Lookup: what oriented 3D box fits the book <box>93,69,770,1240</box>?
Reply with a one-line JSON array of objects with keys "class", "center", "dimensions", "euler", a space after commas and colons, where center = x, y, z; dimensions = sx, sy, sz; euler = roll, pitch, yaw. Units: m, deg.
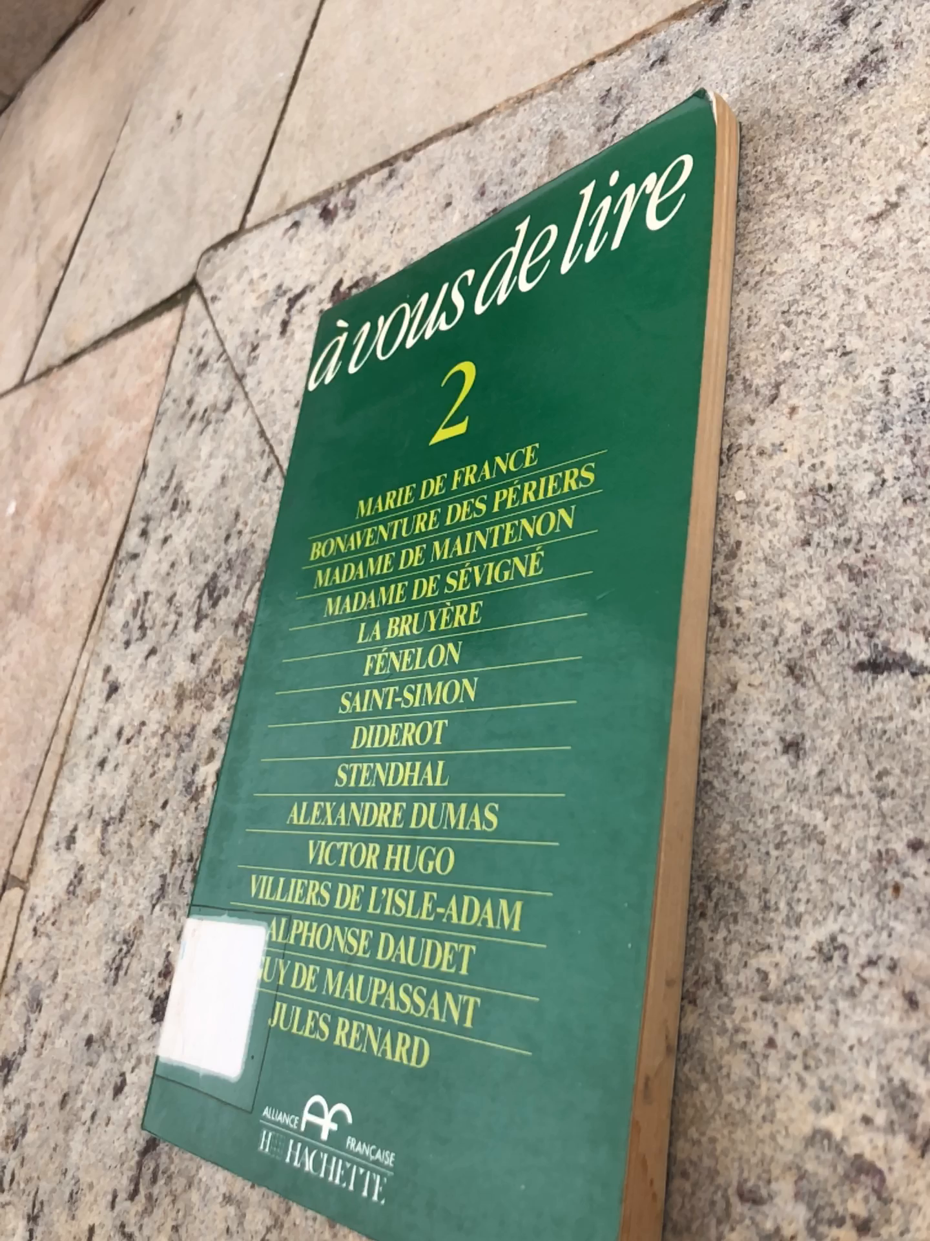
[{"class": "book", "center": [-0.011, 0.007, 0.217], "dimensions": [0.141, 0.017, 0.210], "euler": [-11, 62, 47]}]
